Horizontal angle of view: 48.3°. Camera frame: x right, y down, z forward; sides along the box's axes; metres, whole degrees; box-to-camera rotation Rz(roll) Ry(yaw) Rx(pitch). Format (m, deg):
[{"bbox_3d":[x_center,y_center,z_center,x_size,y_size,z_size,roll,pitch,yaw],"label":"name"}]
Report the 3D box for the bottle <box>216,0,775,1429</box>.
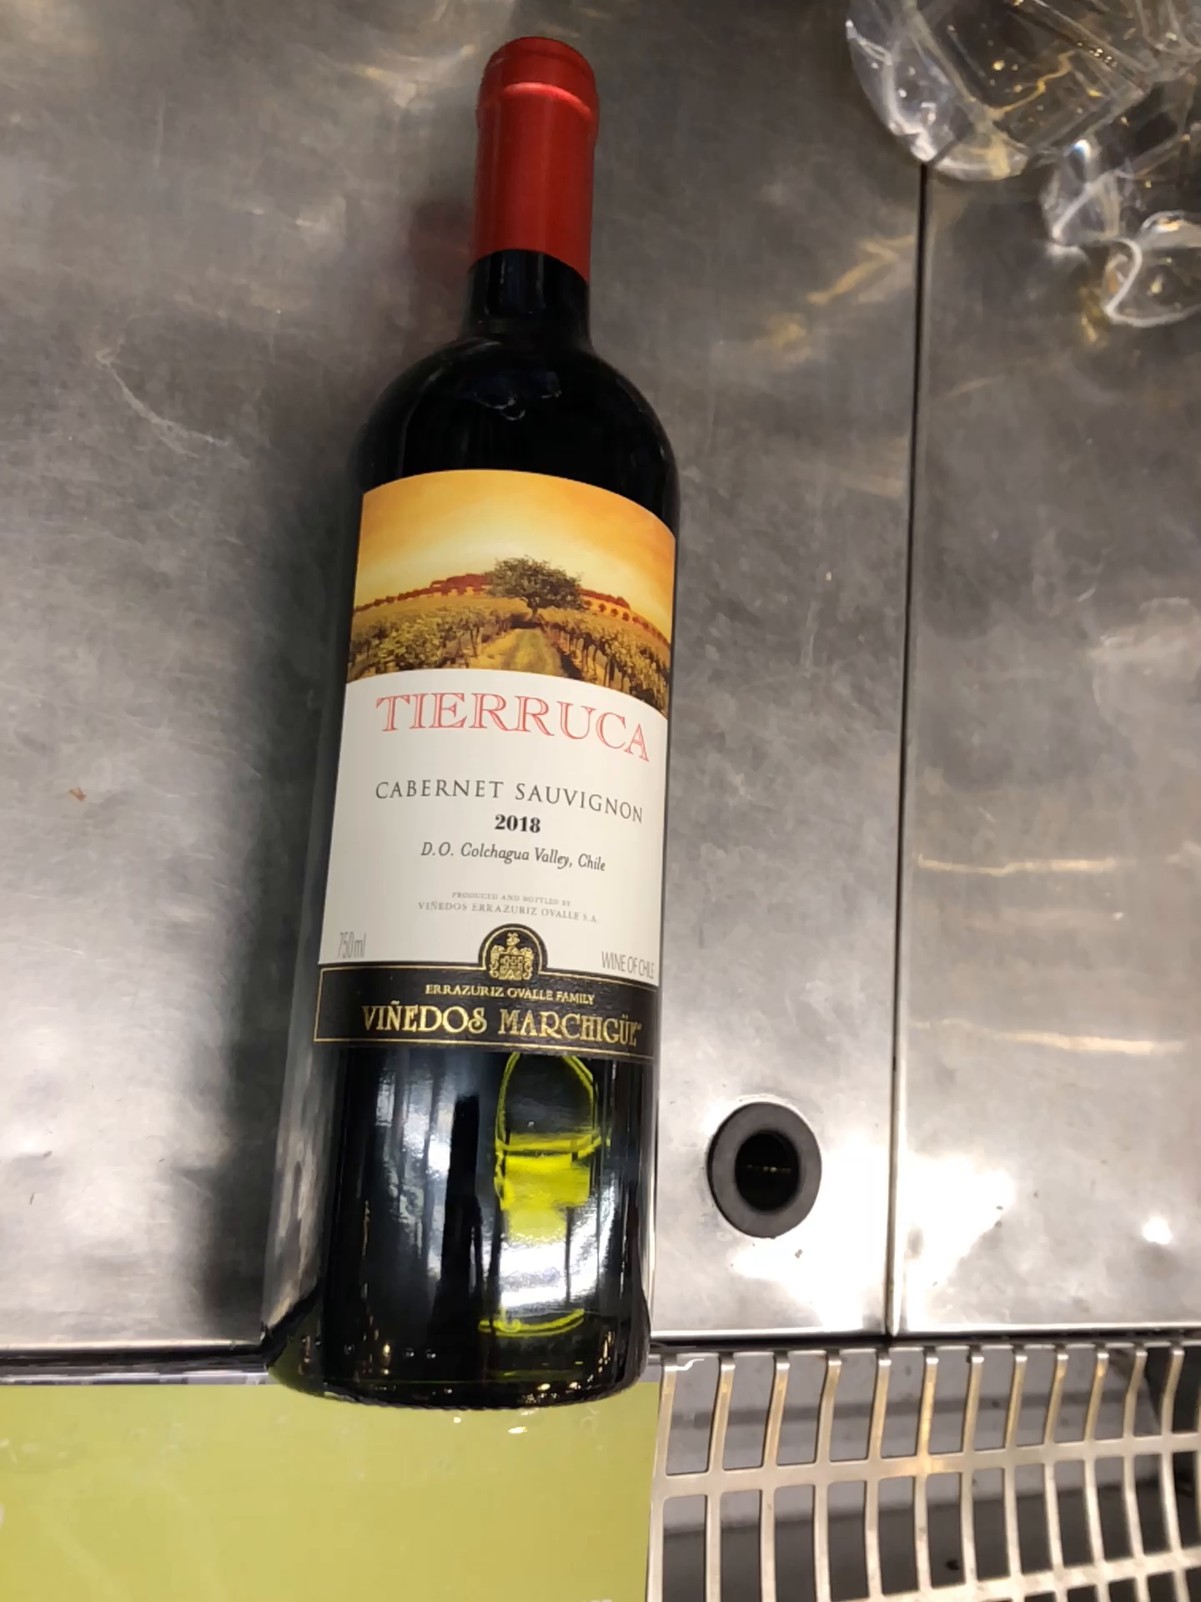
[{"bbox_3d":[-0.016,-0.043,0.282,0.080,0.050,0.310,10,76,-29],"label":"bottle"}]
